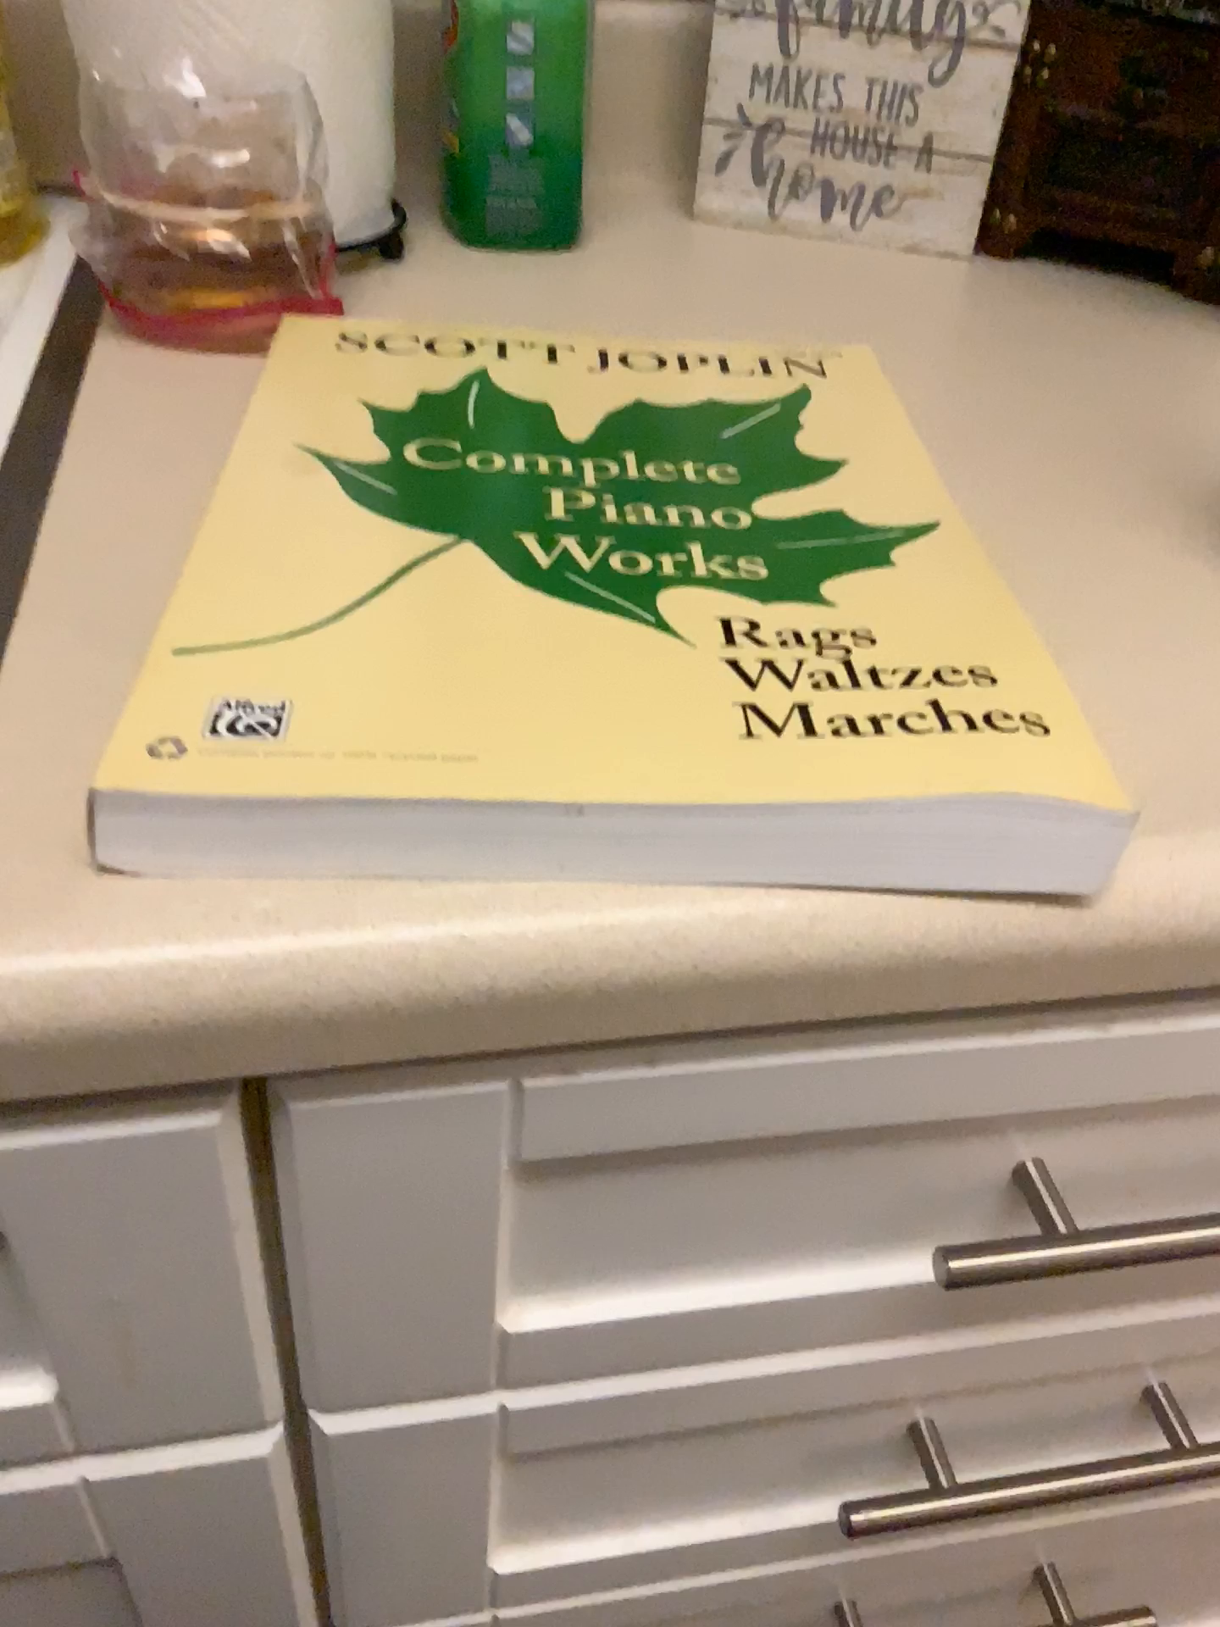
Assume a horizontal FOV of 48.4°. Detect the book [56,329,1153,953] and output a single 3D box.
[{"bbox_3d":[-0.006,-0.080,0.432,0.240,0.030,0.320,2,37,-5],"label":"book"}]
